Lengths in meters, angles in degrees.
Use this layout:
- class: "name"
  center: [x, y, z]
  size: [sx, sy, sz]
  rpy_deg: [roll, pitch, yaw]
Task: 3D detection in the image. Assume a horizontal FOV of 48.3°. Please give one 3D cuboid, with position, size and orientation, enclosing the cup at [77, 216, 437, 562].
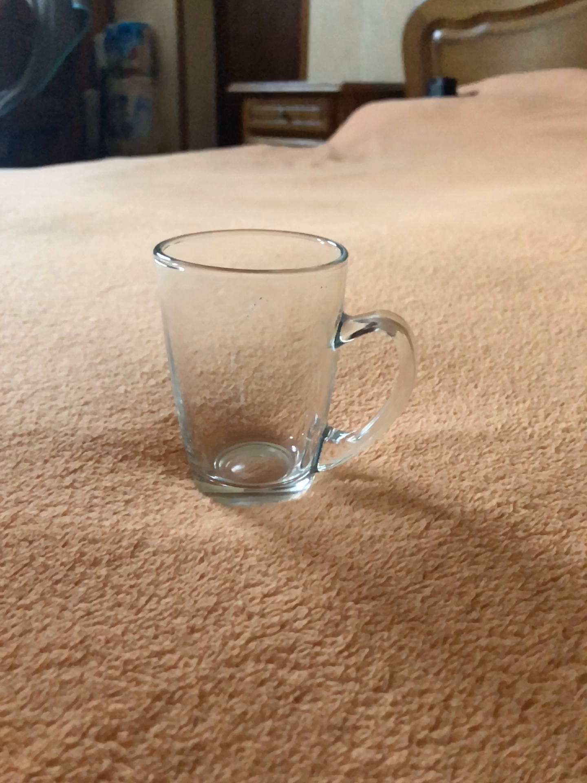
- class: "cup"
  center: [-0.007, -0.007, 0.230]
  size: [0.100, 0.090, 0.070]
  rpy_deg: [7, 24, 13]
